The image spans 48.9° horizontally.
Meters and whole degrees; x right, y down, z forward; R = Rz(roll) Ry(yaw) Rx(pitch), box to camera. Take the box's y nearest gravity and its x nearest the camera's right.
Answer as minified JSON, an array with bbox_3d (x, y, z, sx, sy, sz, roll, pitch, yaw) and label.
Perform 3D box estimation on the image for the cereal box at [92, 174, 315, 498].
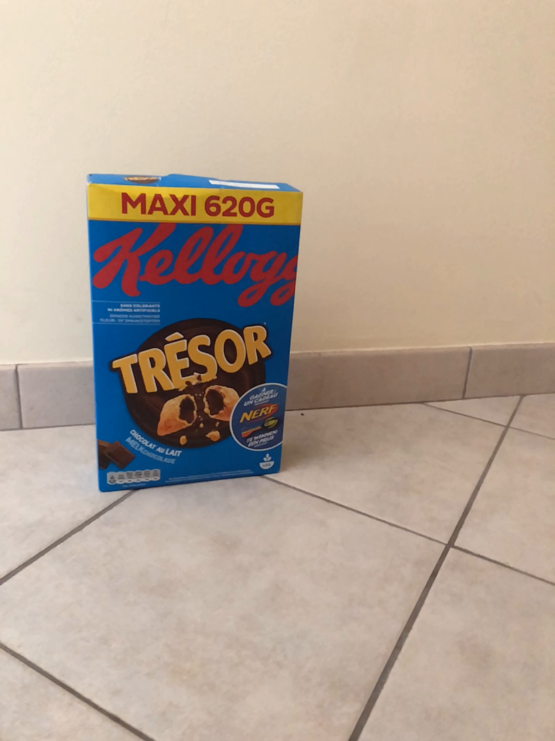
[{"bbox_3d":[-0.078,-0.031,0.605,0.190,0.298,0.070,-3,23,-17],"label":"cereal box"}]
